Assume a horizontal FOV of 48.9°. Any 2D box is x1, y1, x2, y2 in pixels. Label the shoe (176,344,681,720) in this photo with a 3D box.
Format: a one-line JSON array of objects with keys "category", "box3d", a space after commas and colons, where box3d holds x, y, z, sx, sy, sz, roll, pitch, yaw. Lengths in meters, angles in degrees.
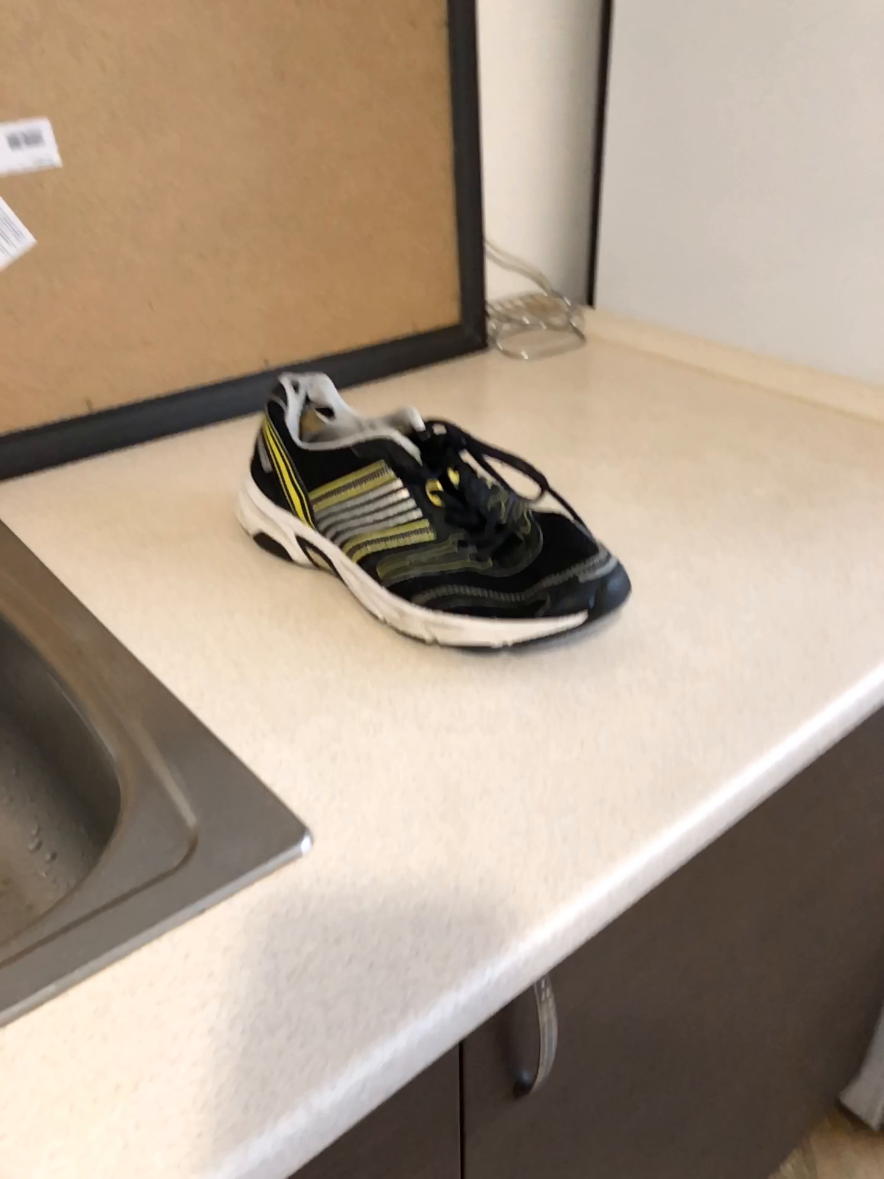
[{"category": "shoe", "box3d": [-0.024, -0.055, 0.584, 0.110, 0.099, 0.311, -26, 39, -36]}]
